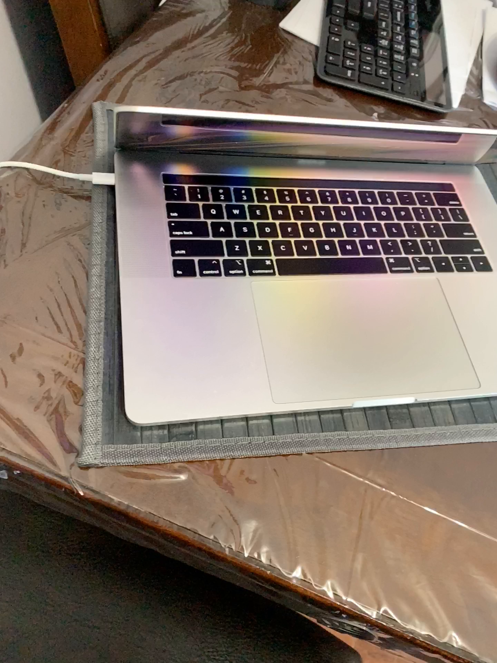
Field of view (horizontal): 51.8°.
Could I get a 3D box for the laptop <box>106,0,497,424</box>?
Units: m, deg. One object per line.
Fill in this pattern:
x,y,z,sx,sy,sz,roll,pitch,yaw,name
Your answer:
0.089,-0.094,0.336,0.342,0.166,0.233,-2,62,-14,laptop
